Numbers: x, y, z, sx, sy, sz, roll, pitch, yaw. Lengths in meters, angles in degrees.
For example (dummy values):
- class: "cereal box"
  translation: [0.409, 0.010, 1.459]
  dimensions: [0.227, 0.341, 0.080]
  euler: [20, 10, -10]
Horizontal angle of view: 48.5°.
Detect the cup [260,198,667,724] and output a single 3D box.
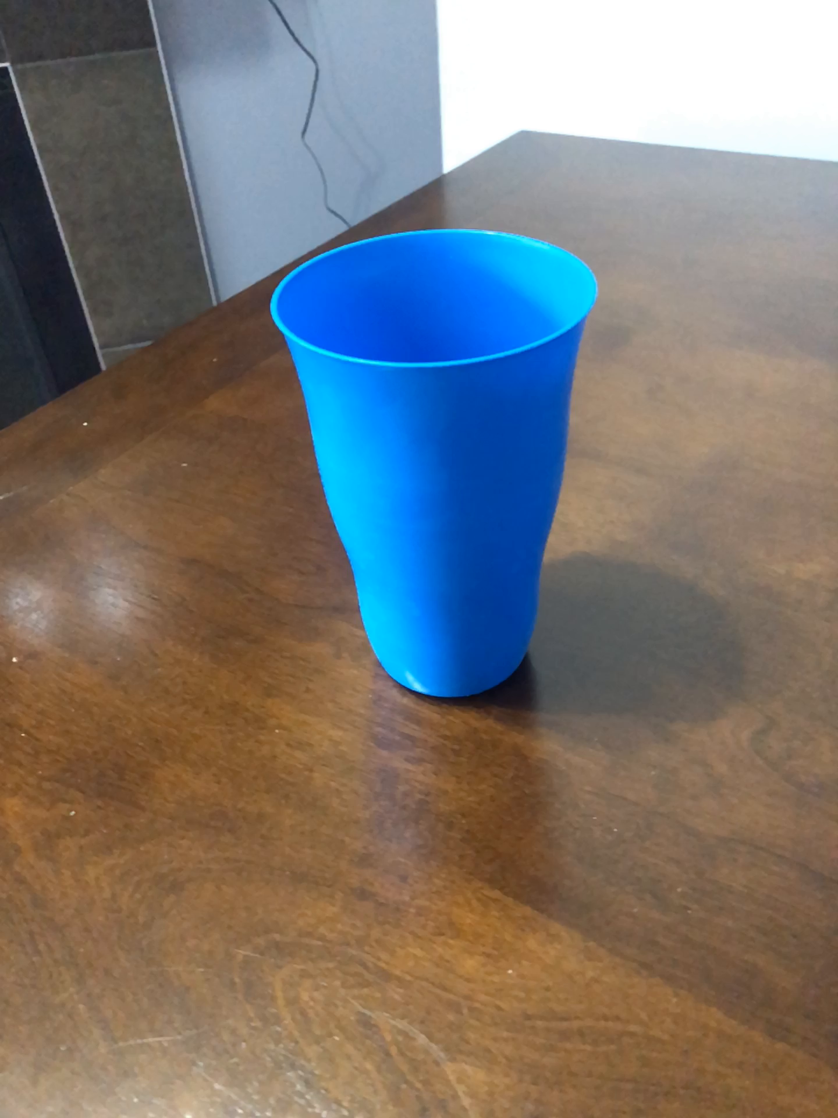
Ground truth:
- class: "cup"
  translation: [0.010, -0.034, 0.313]
  dimensions: [0.100, 0.129, 0.100]
  euler: [-3, 38, 2]
